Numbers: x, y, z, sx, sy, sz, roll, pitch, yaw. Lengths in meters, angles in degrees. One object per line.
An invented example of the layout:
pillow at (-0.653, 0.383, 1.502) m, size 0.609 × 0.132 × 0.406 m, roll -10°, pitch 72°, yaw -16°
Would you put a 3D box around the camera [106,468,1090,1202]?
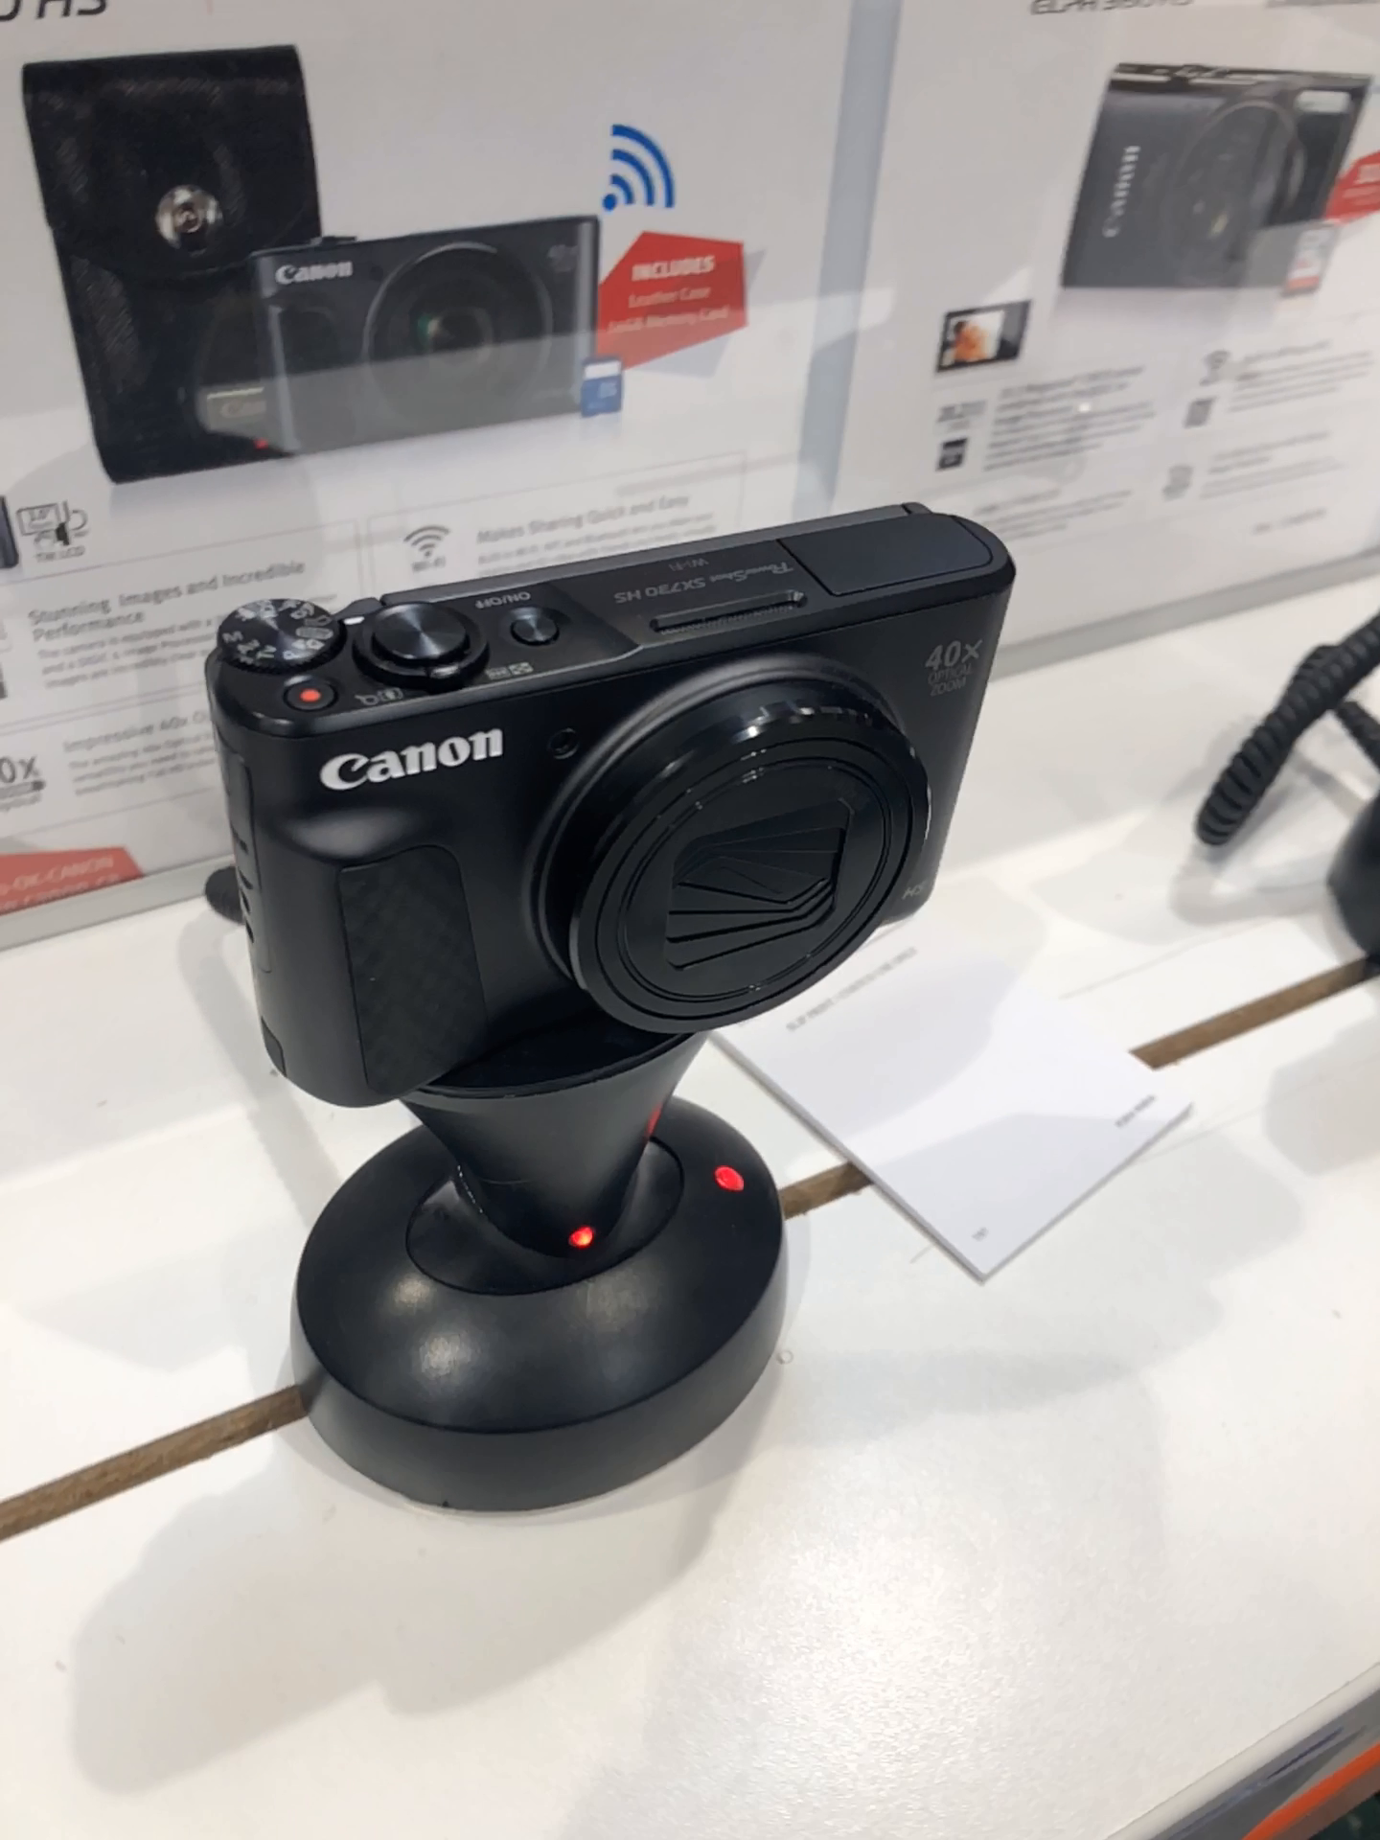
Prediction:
camera at (-0.012, -0.015, 0.220) m, size 0.120 × 0.070 × 0.040 m, roll -16°, pitch 48°, yaw -22°
